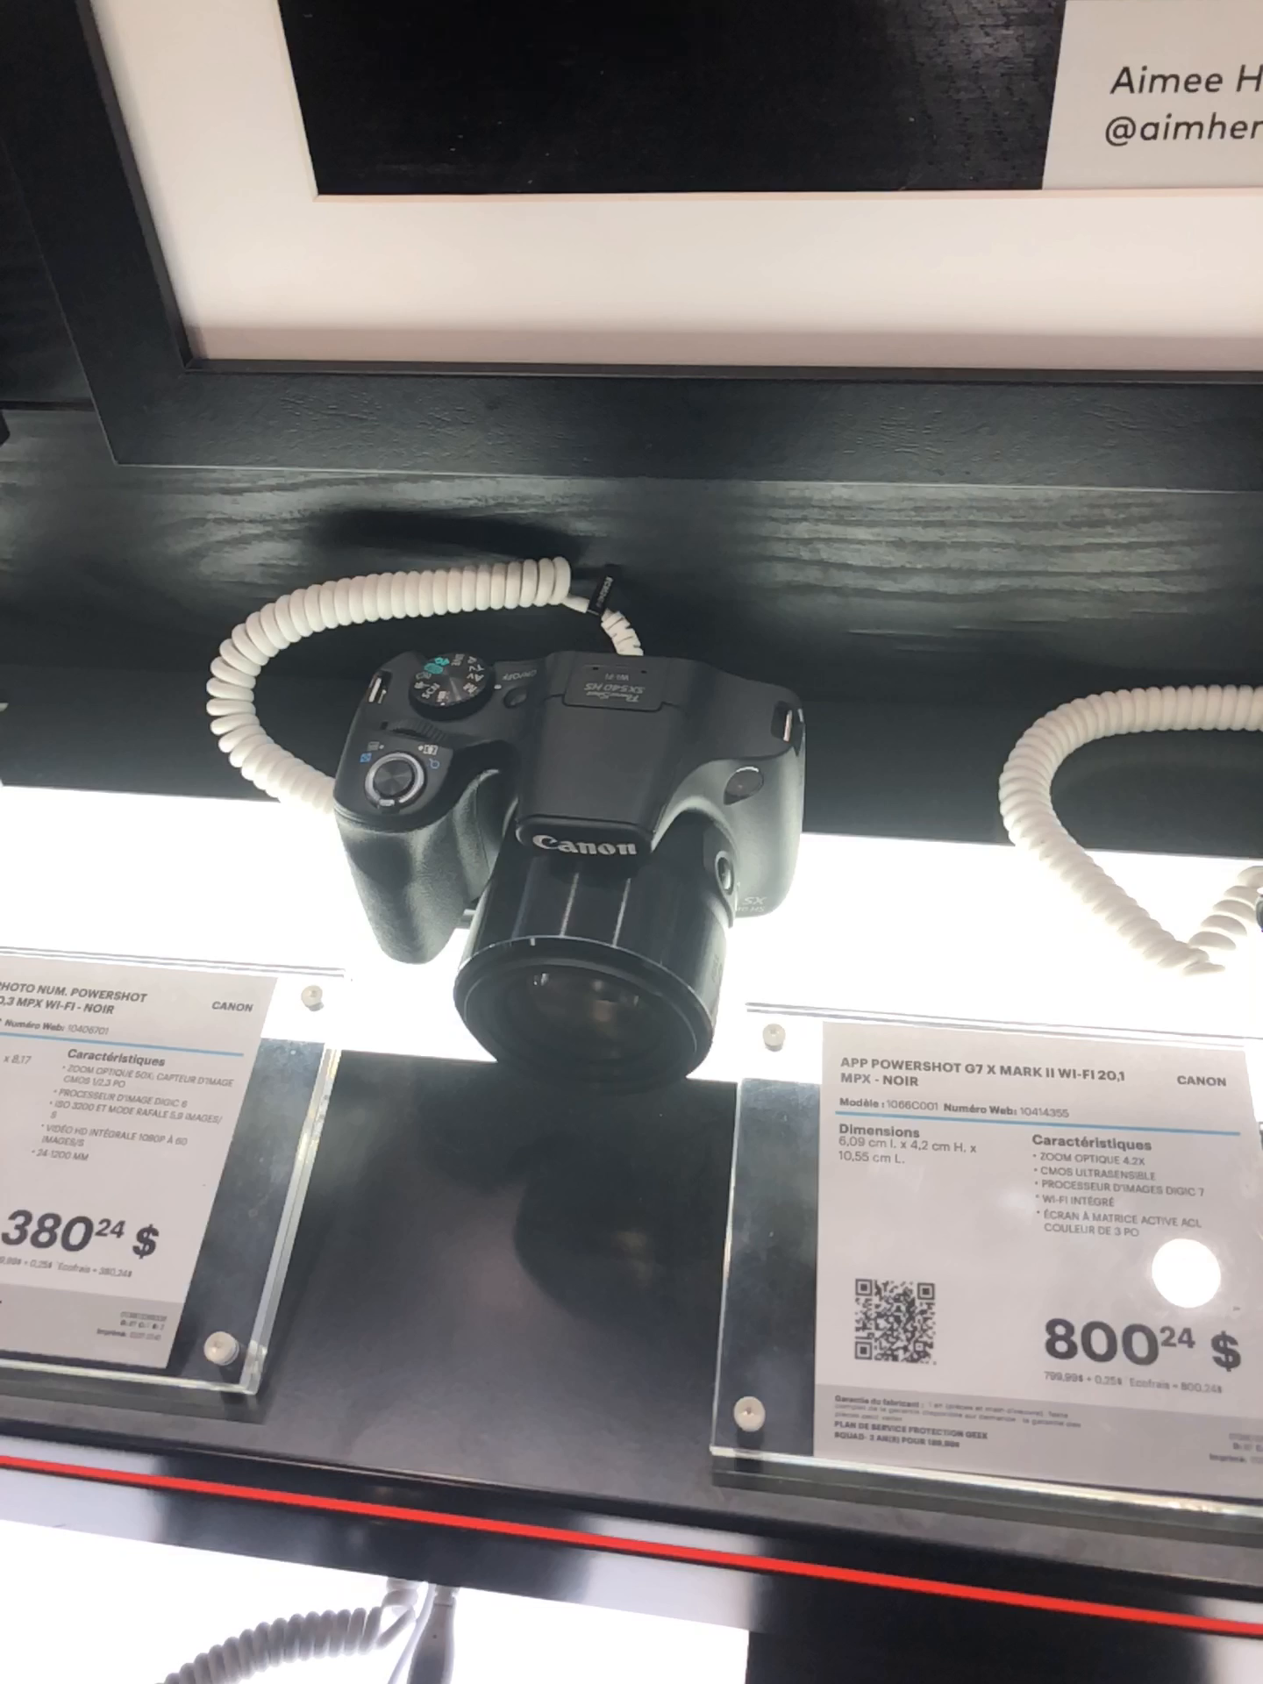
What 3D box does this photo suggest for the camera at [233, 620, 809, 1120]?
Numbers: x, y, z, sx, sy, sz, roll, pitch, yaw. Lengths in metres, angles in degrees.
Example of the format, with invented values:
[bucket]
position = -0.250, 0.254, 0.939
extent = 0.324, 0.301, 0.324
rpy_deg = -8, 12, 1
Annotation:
[camera]
position = -0.019, 0.007, 0.357
extent = 0.122, 0.099, 0.071
rpy_deg = 3, 44, 8
